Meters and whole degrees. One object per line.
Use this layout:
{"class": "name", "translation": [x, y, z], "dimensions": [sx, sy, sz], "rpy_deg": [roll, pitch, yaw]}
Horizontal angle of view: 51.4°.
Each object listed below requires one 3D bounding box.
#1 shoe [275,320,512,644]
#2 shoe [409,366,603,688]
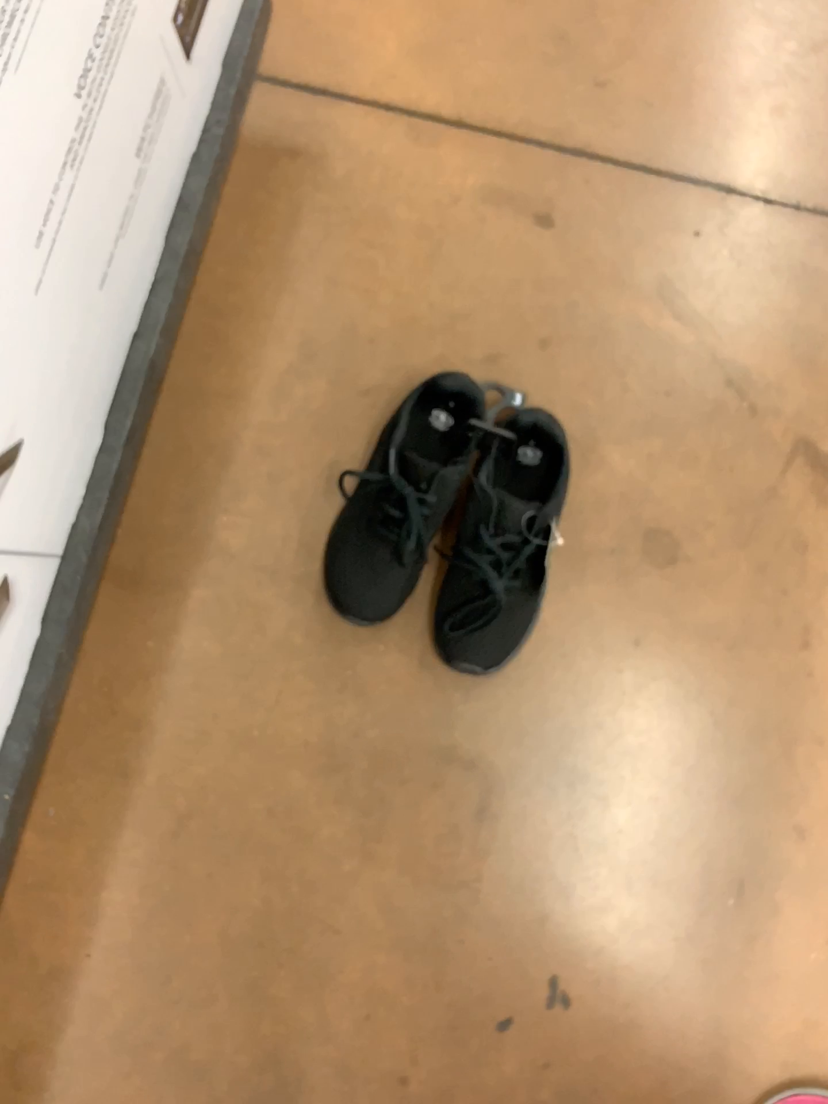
{"class": "shoe", "translation": [-0.013, -0.052, 0.687], "dimensions": [0.090, 0.080, 0.230], "rpy_deg": [24, 83, 4]}
{"class": "shoe", "translation": [0.071, -0.016, 0.687], "dimensions": [0.090, 0.080, 0.230], "rpy_deg": [15, 82, 3]}
